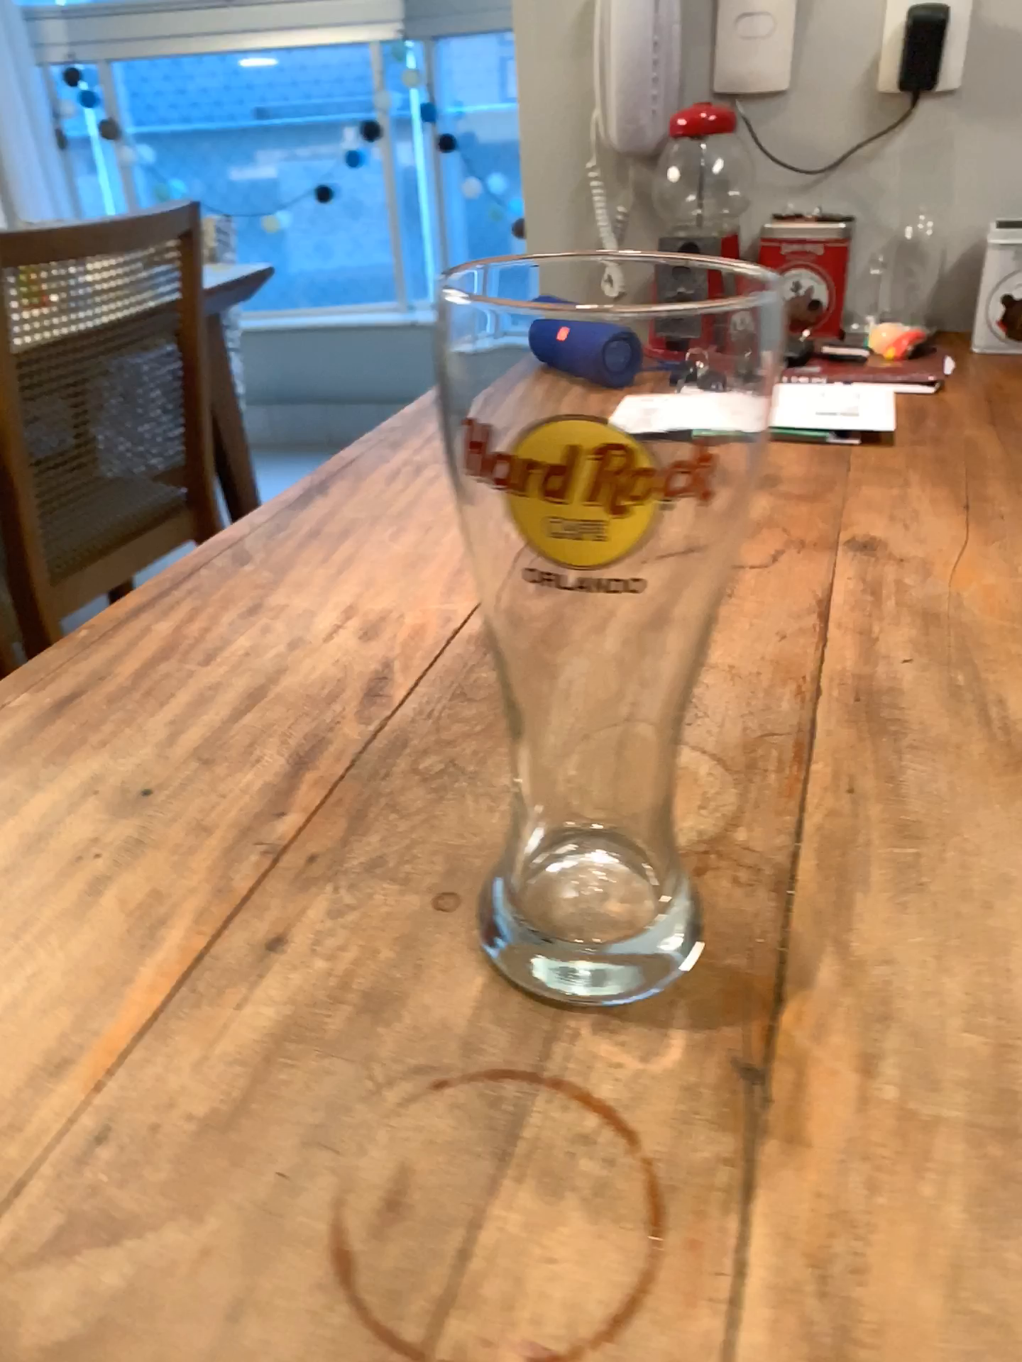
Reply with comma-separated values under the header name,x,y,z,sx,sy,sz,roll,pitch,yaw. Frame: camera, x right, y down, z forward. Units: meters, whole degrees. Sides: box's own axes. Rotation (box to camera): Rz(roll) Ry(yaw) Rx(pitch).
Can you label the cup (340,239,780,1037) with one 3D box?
name,x,y,z,sx,sy,sz,roll,pitch,yaw
cup,0.024,-0.009,0.301,0.090,0.201,0.090,-3,31,2
